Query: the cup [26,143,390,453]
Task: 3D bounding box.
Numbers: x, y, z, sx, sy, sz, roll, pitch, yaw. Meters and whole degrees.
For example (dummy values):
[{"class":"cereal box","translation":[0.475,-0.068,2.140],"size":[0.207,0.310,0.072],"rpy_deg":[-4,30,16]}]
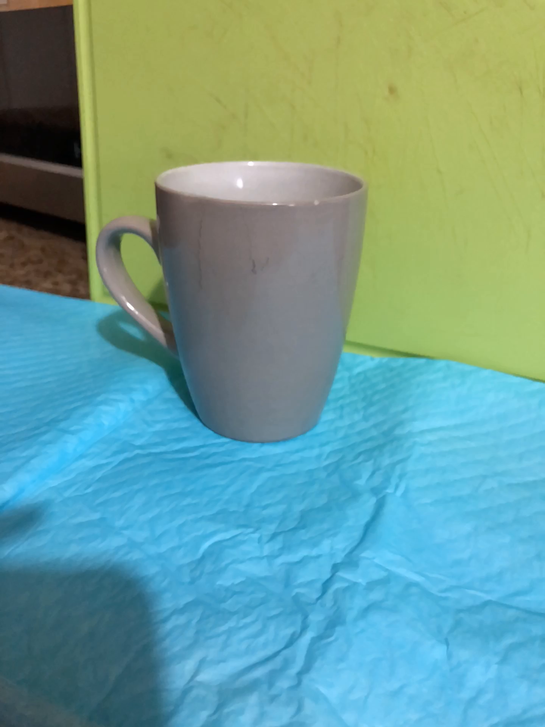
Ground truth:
[{"class":"cup","translation":[-0.018,-0.029,0.233],"size":[0.110,0.090,0.070],"rpy_deg":[5,26,5]}]
